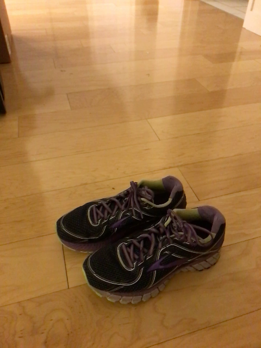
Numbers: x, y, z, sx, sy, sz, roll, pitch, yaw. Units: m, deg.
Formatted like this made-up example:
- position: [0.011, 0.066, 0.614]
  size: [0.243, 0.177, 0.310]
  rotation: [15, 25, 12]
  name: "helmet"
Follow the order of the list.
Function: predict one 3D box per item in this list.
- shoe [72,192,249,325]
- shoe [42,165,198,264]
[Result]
- position: [0.050, 0.133, 0.494]
  size: [0.271, 0.069, 0.121]
  rotation: [-16, 44, -19]
  name: "shoe"
- position: [-0.021, 0.070, 0.553]
  size: [0.270, 0.069, 0.111]
  rotation: [-13, 43, -16]
  name: "shoe"
